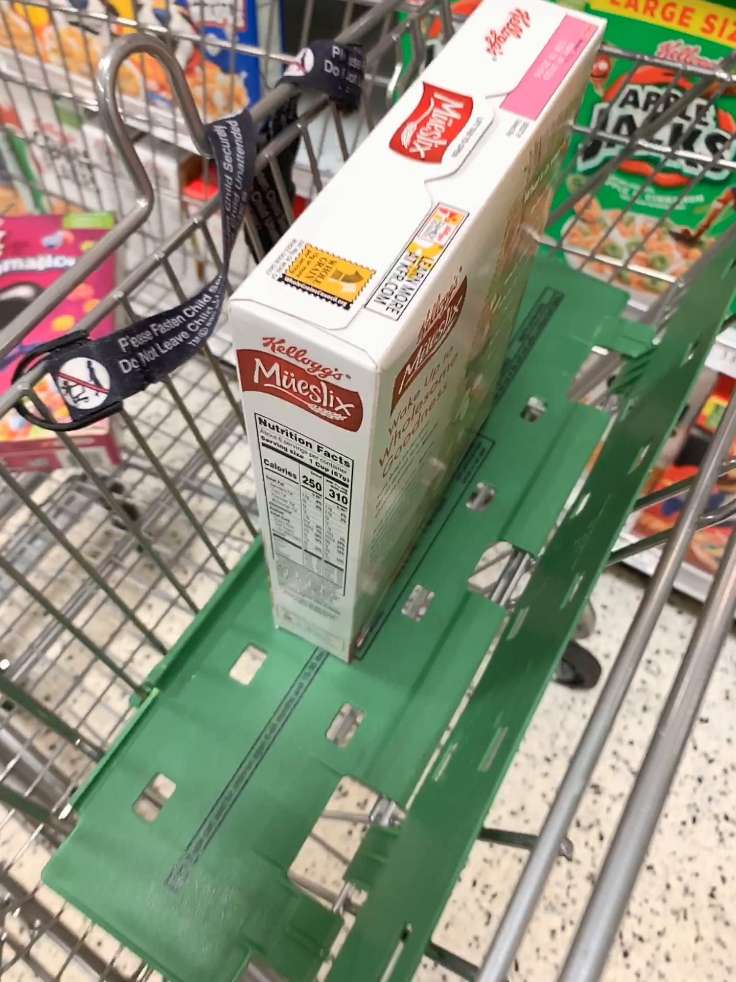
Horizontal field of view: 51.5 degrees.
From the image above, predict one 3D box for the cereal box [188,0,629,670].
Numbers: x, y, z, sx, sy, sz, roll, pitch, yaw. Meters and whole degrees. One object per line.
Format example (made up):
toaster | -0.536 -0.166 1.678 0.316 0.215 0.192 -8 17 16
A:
cereal box | 0.017 -0.053 0.332 0.050 0.248 0.191 26 61 11
